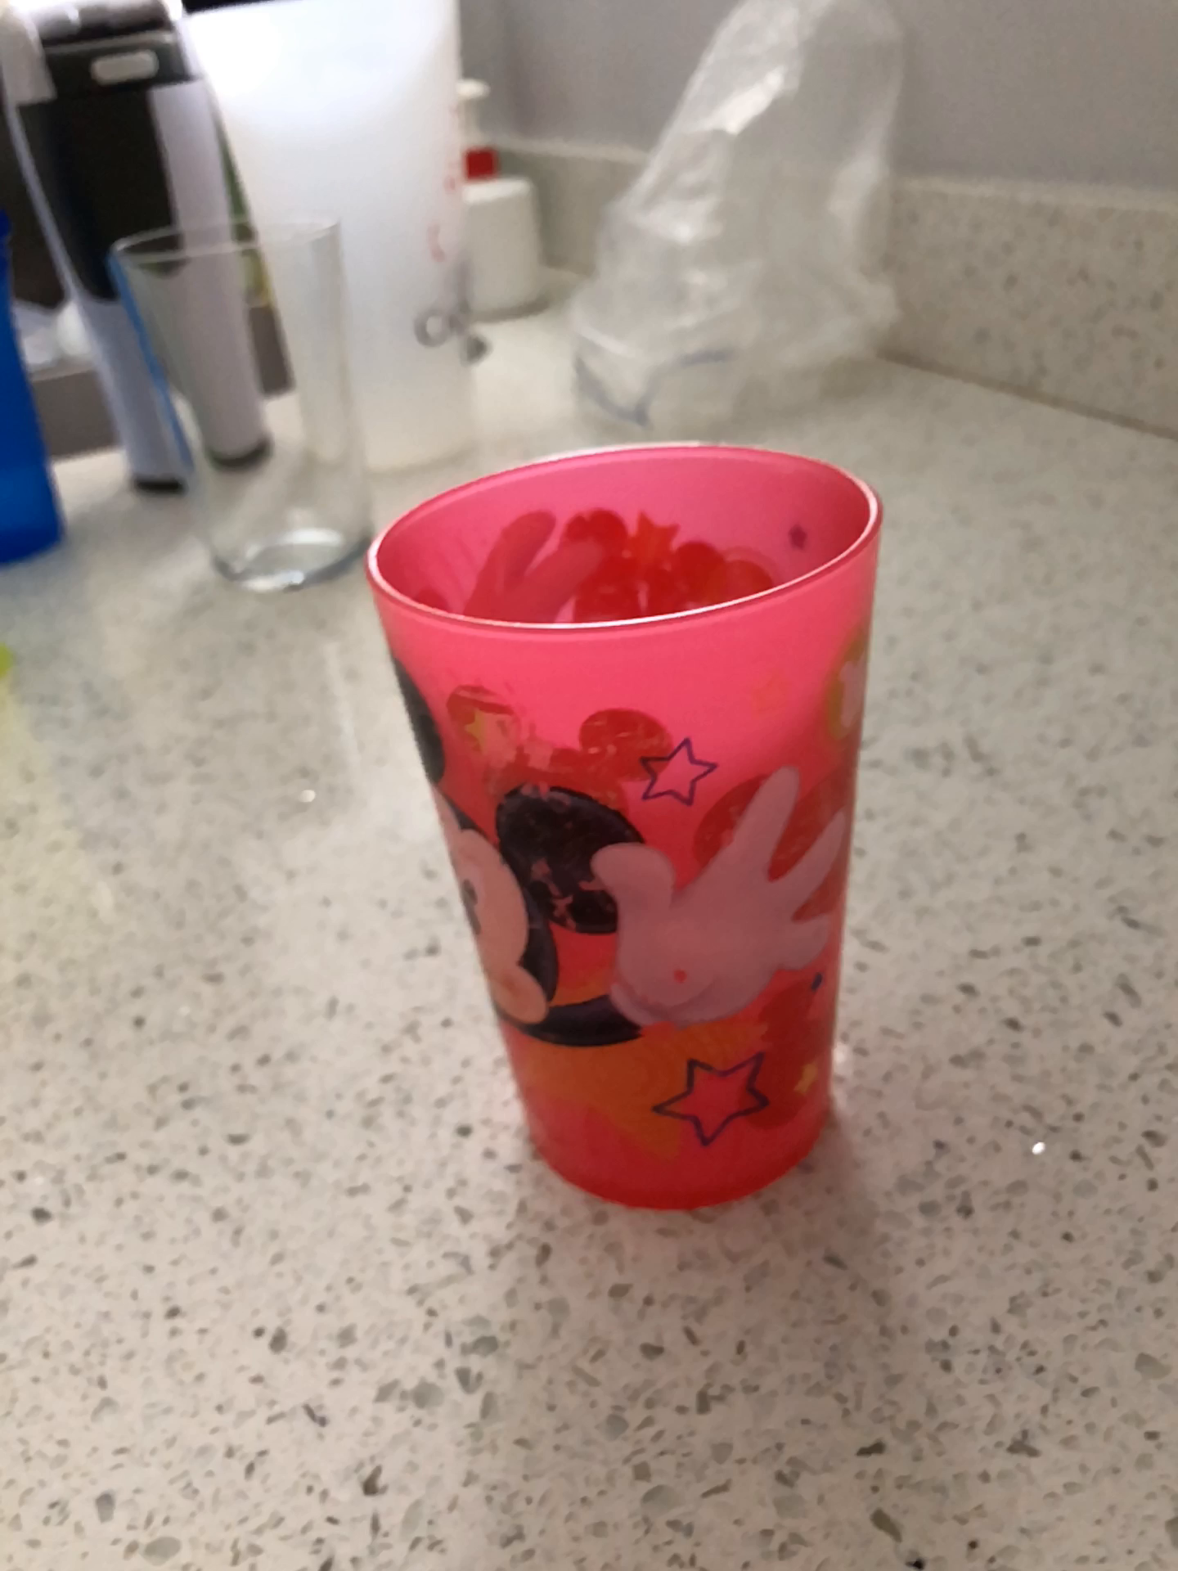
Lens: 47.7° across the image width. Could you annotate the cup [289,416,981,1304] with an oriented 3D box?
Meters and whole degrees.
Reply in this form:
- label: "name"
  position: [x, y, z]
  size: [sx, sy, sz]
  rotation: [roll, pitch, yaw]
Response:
- label: "cup"
  position: [0.006, 0.006, 0.204]
  size: [0.071, 0.096, 0.074]
  rotation: [-6, 30, 3]
